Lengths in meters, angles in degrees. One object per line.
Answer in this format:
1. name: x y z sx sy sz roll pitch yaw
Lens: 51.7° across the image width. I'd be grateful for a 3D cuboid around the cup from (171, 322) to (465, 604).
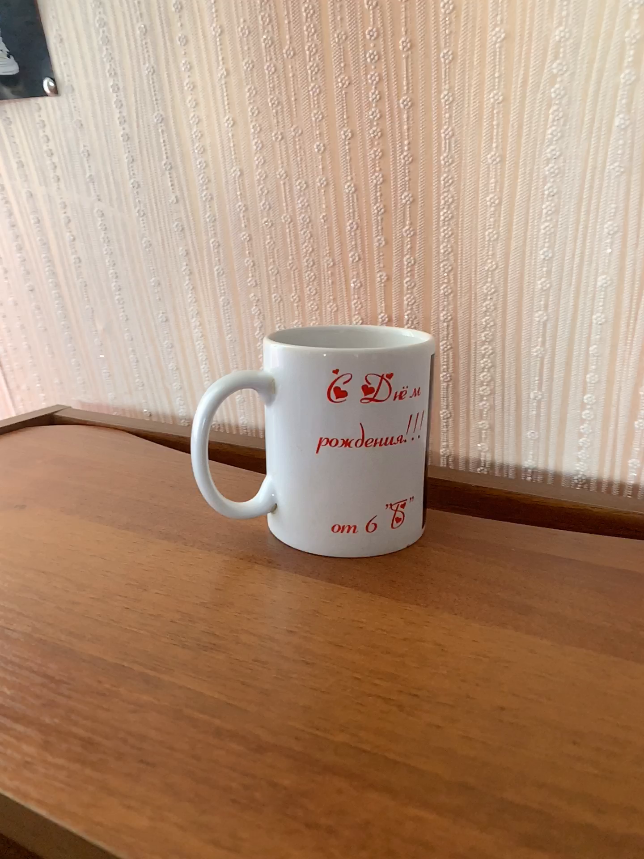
1. cup: -0.006 0.007 0.324 0.117 0.105 0.082 -5 16 -20
